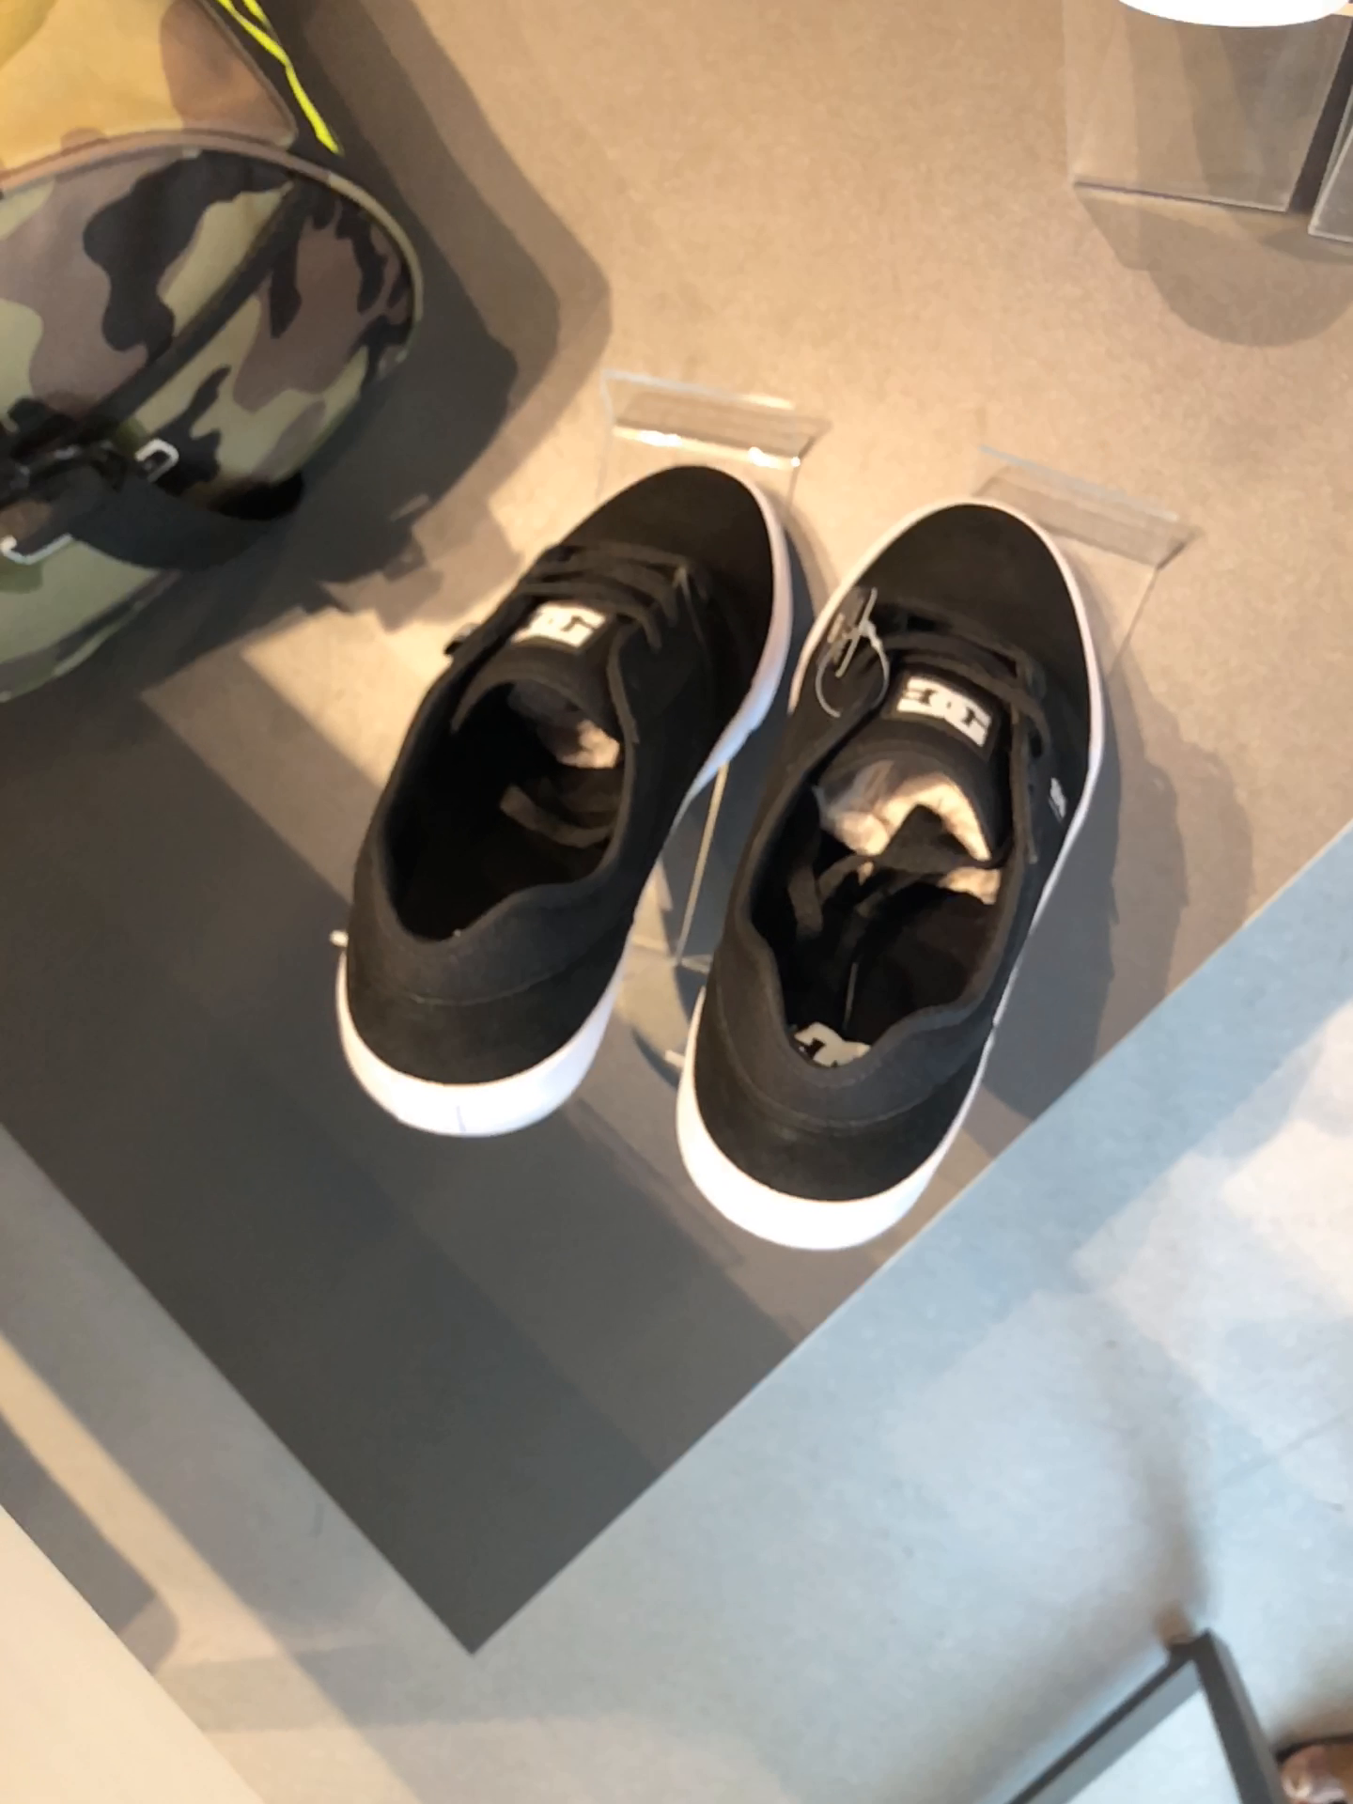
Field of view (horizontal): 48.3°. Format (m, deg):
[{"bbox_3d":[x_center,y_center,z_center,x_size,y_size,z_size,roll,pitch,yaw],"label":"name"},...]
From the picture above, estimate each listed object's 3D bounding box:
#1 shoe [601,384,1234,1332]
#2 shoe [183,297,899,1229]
[{"bbox_3d":[0.070,-0.019,0.430,0.106,0.107,0.229,18,59,8],"label":"shoe"},{"bbox_3d":[-0.024,-0.046,0.431,0.106,0.107,0.229,16,59,9],"label":"shoe"}]
